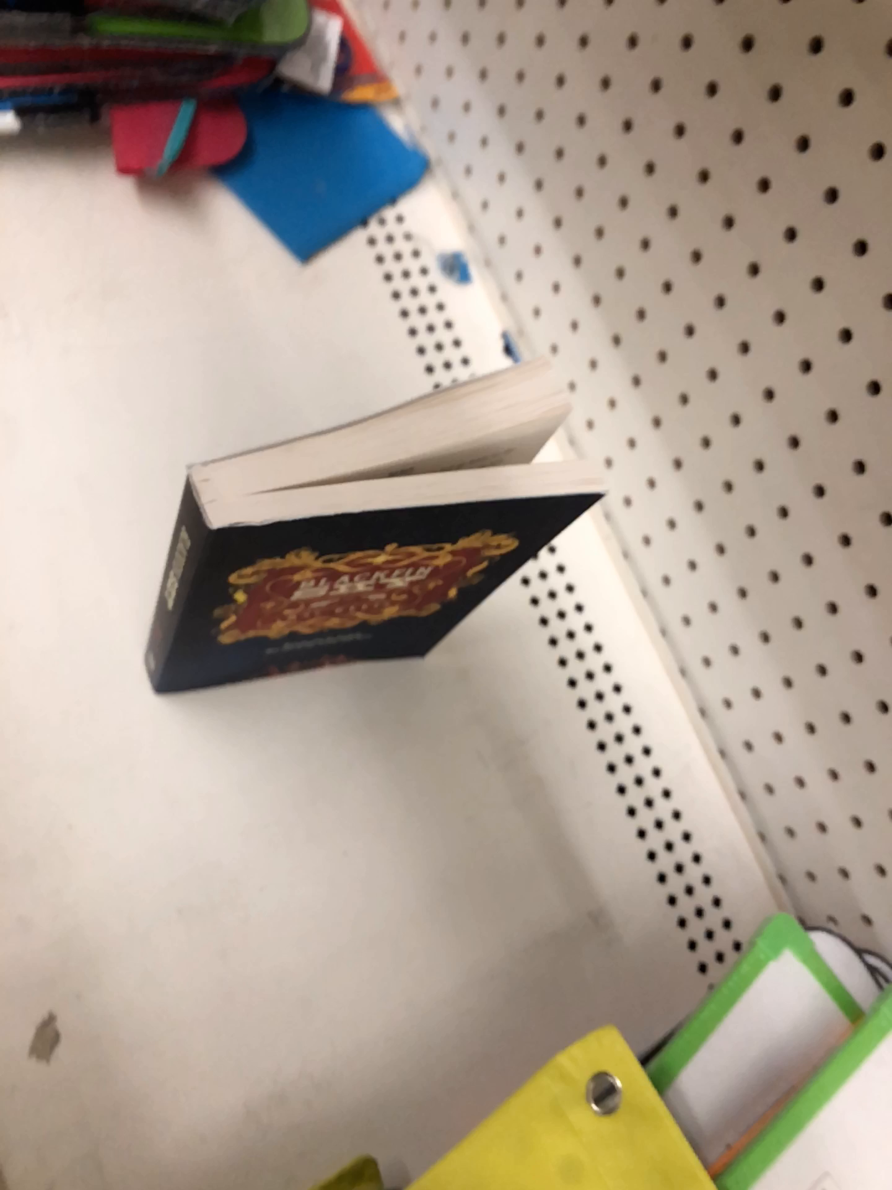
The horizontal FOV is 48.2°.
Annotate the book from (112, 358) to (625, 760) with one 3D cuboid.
[{"bbox_3d":[-0.048,-0.005,0.407,0.150,0.205,0.059,-15,75,-25],"label":"book"}]
